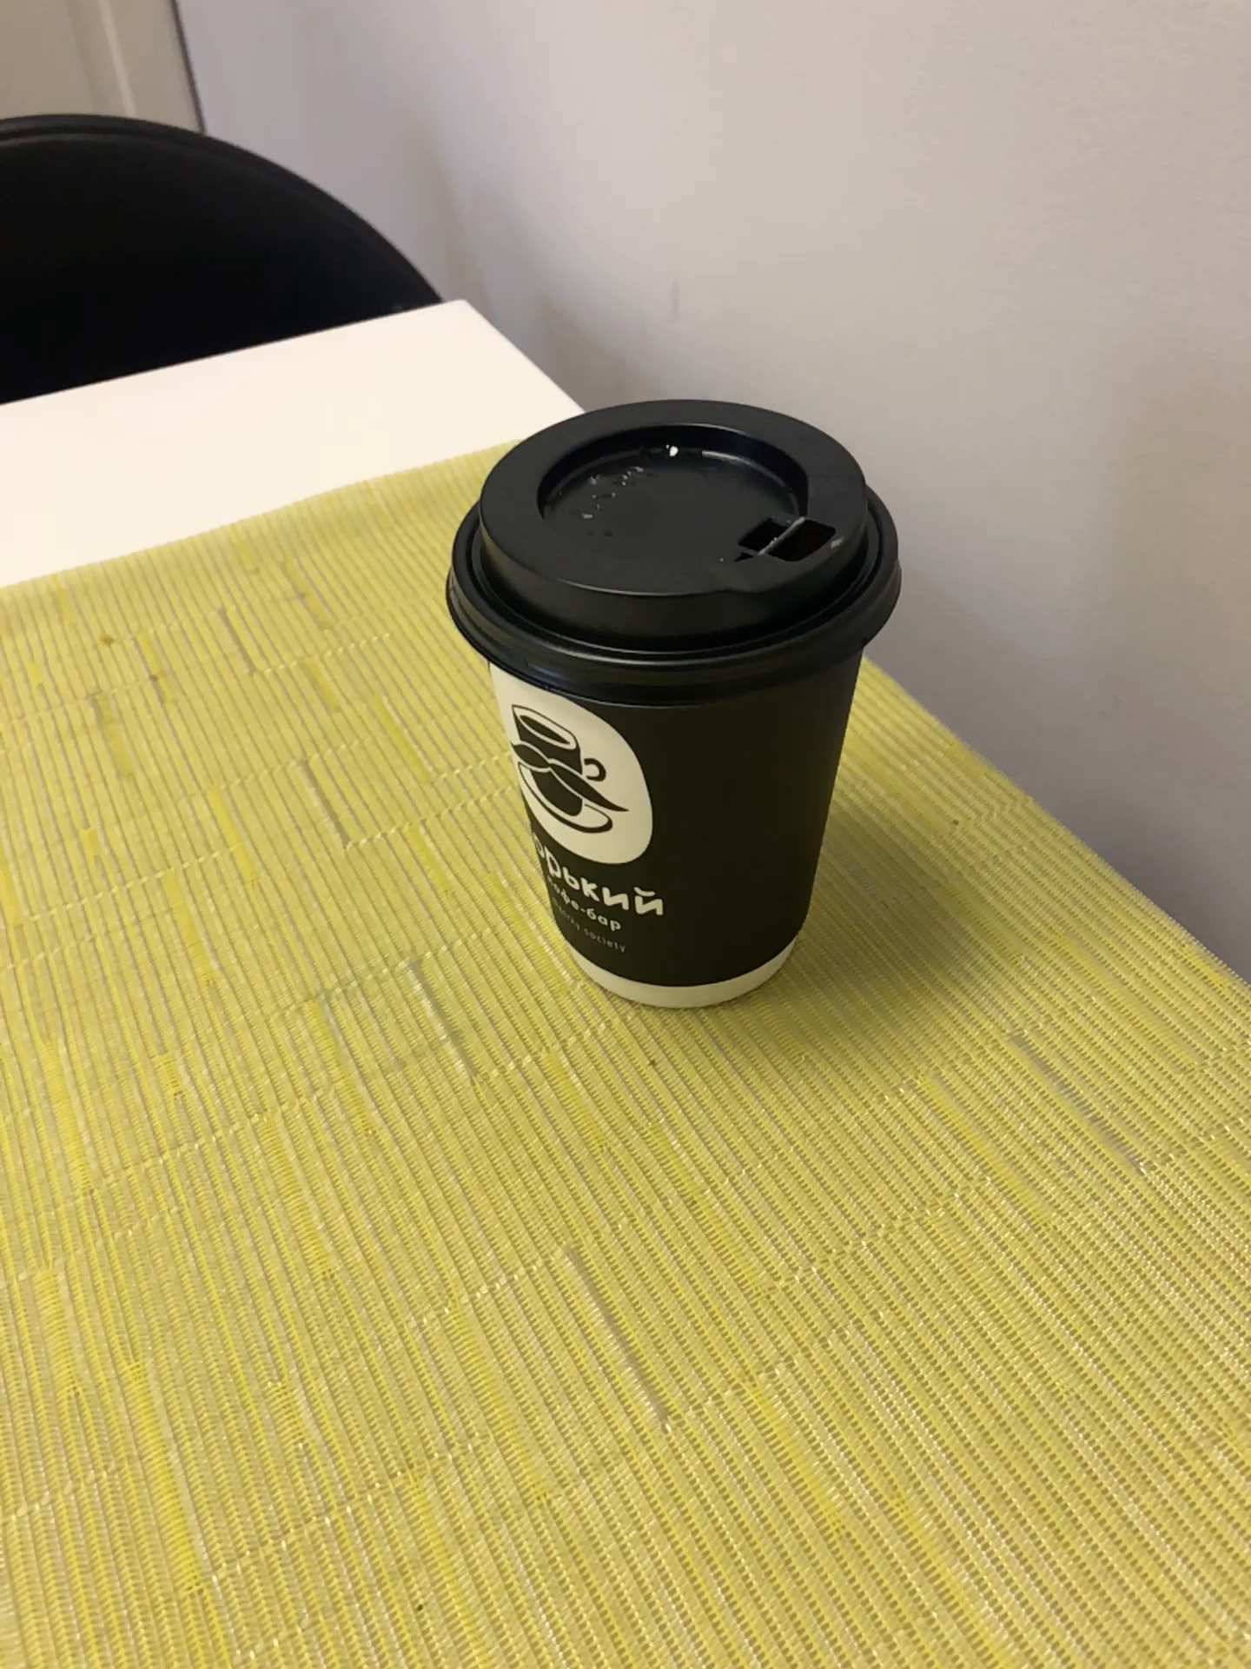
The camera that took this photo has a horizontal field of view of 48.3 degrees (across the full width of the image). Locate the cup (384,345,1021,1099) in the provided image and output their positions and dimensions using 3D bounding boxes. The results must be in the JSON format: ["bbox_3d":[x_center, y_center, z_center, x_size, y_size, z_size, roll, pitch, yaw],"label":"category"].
[{"bbox_3d":[0.017,-0.028,0.323,0.090,0.119,0.092,-2,43,2],"label":"cup"}]
